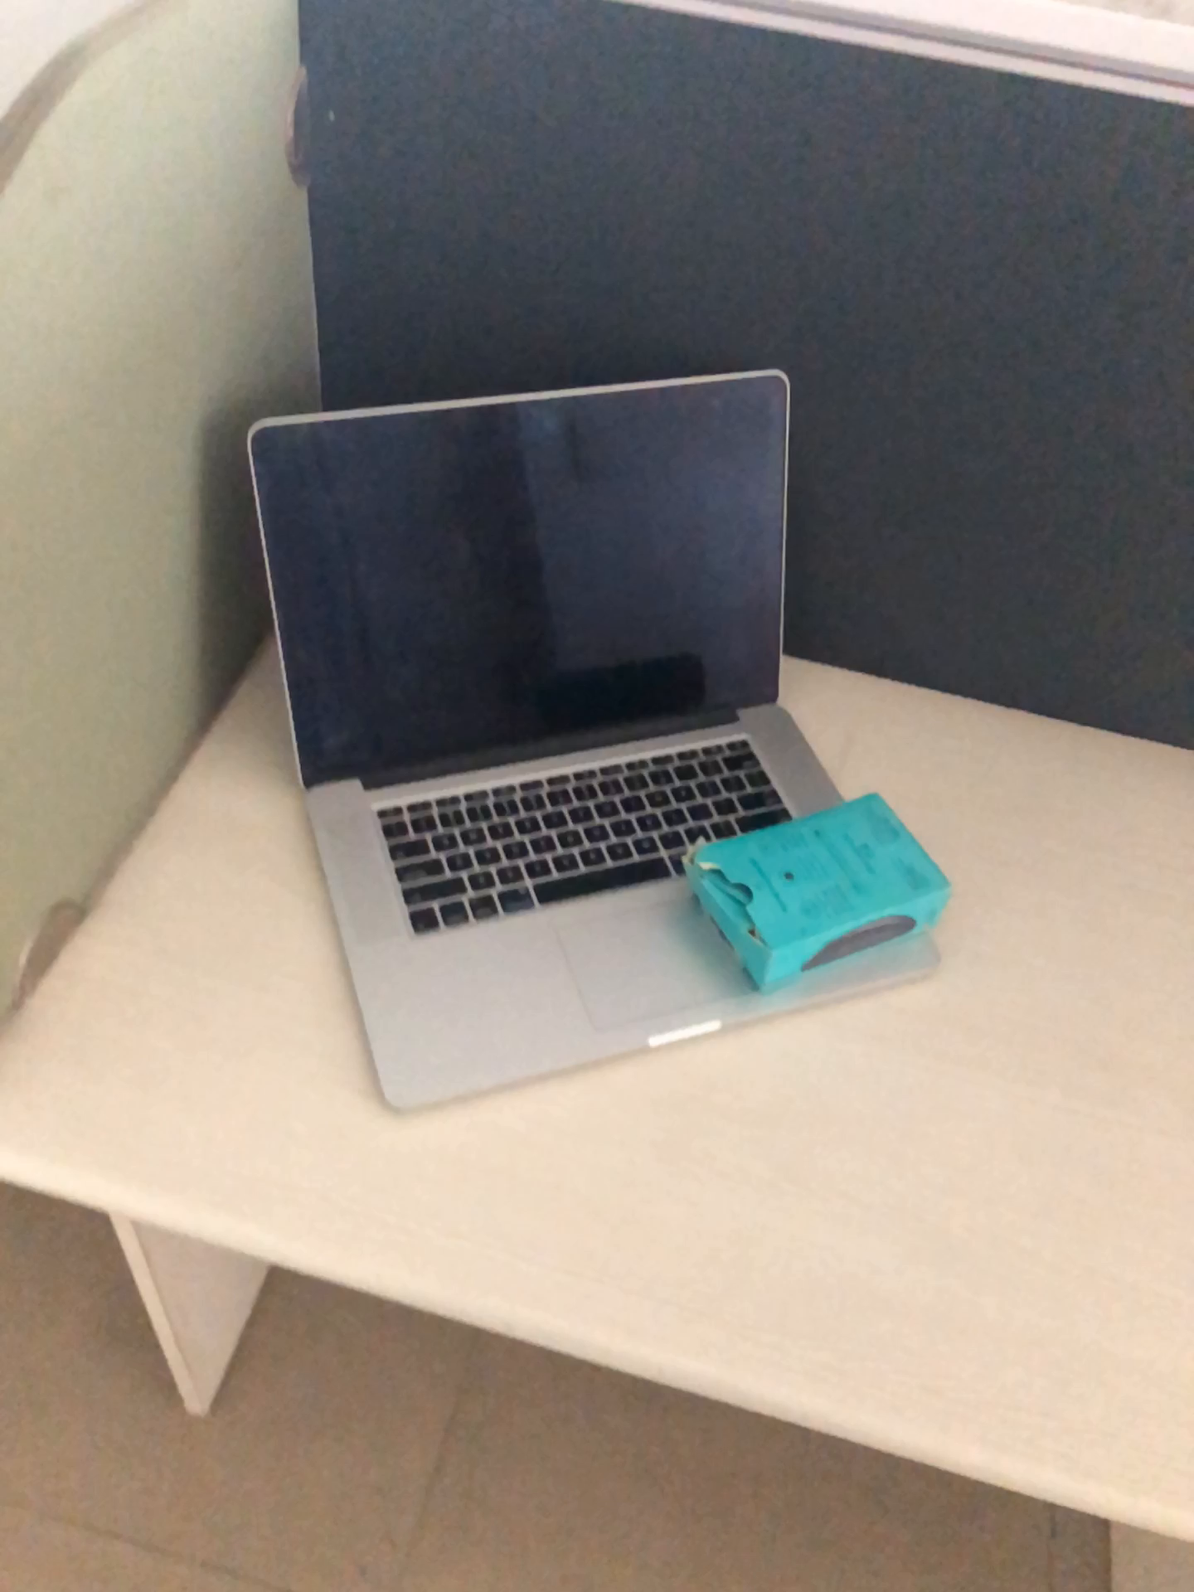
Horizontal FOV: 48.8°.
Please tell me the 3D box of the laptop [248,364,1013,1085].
[{"bbox_3d":[-0.006,-0.063,0.800,0.329,0.200,0.340,-11,51,-16],"label":"laptop"}]
